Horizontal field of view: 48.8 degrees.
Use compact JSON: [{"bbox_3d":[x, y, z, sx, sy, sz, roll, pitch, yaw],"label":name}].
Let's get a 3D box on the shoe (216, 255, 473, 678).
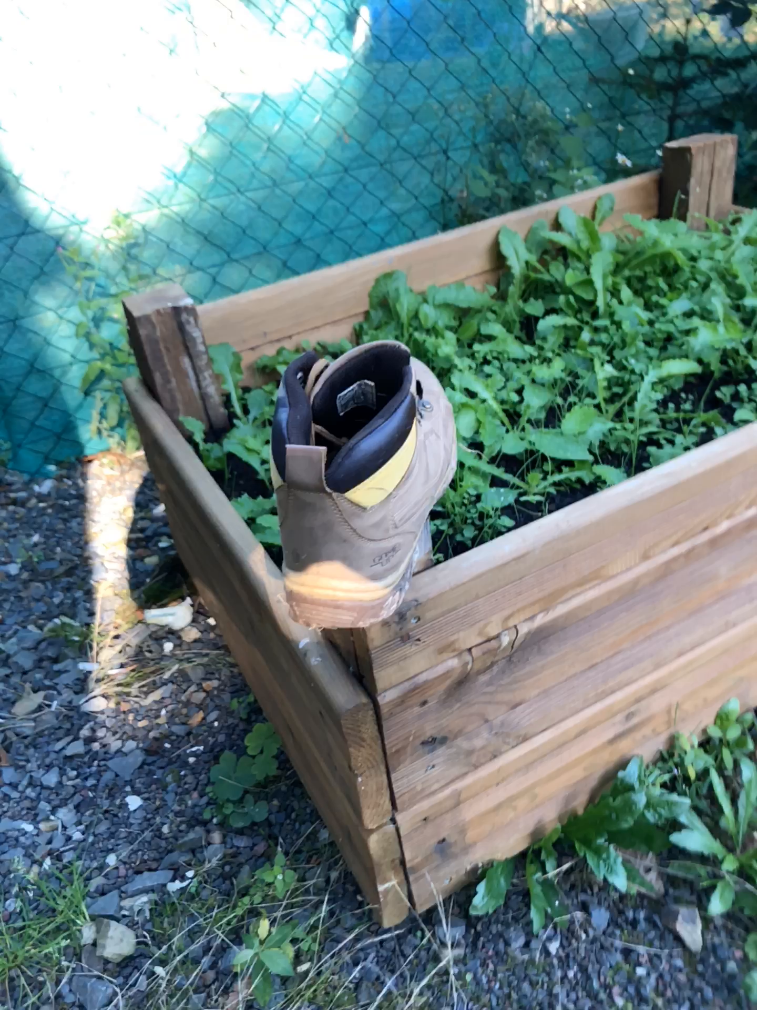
[{"bbox_3d":[-0.001,-0.044,0.566,0.100,0.149,0.282,1,37,12],"label":"shoe"}]
